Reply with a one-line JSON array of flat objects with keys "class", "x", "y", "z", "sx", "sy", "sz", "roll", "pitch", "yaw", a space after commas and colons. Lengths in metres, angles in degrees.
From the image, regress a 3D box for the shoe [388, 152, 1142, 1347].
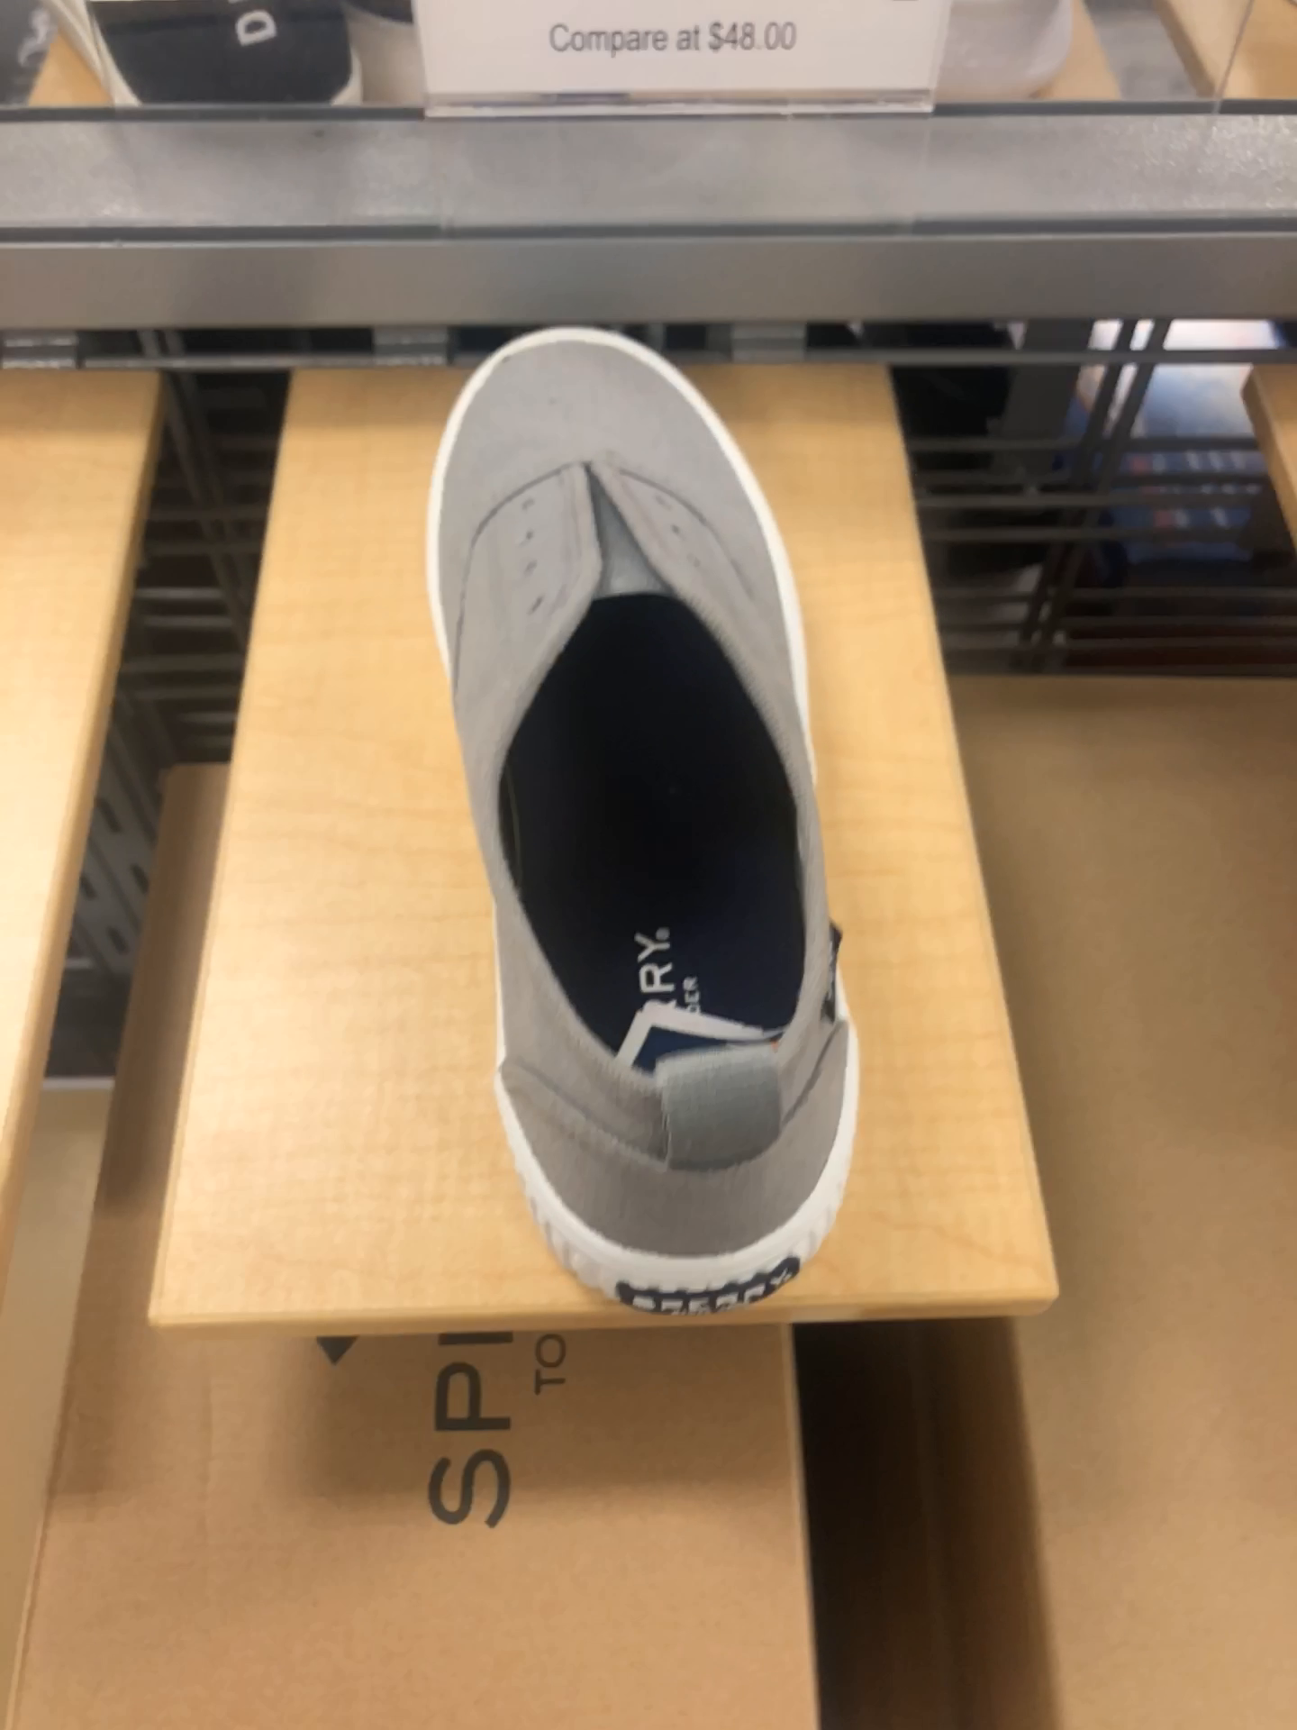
[{"class": "shoe", "x": 0.004, "y": -0.042, "z": 0.312, "sx": 0.097, "sy": 0.081, "sz": 0.252, "roll": -6, "pitch": 57, "yaw": -7}]
